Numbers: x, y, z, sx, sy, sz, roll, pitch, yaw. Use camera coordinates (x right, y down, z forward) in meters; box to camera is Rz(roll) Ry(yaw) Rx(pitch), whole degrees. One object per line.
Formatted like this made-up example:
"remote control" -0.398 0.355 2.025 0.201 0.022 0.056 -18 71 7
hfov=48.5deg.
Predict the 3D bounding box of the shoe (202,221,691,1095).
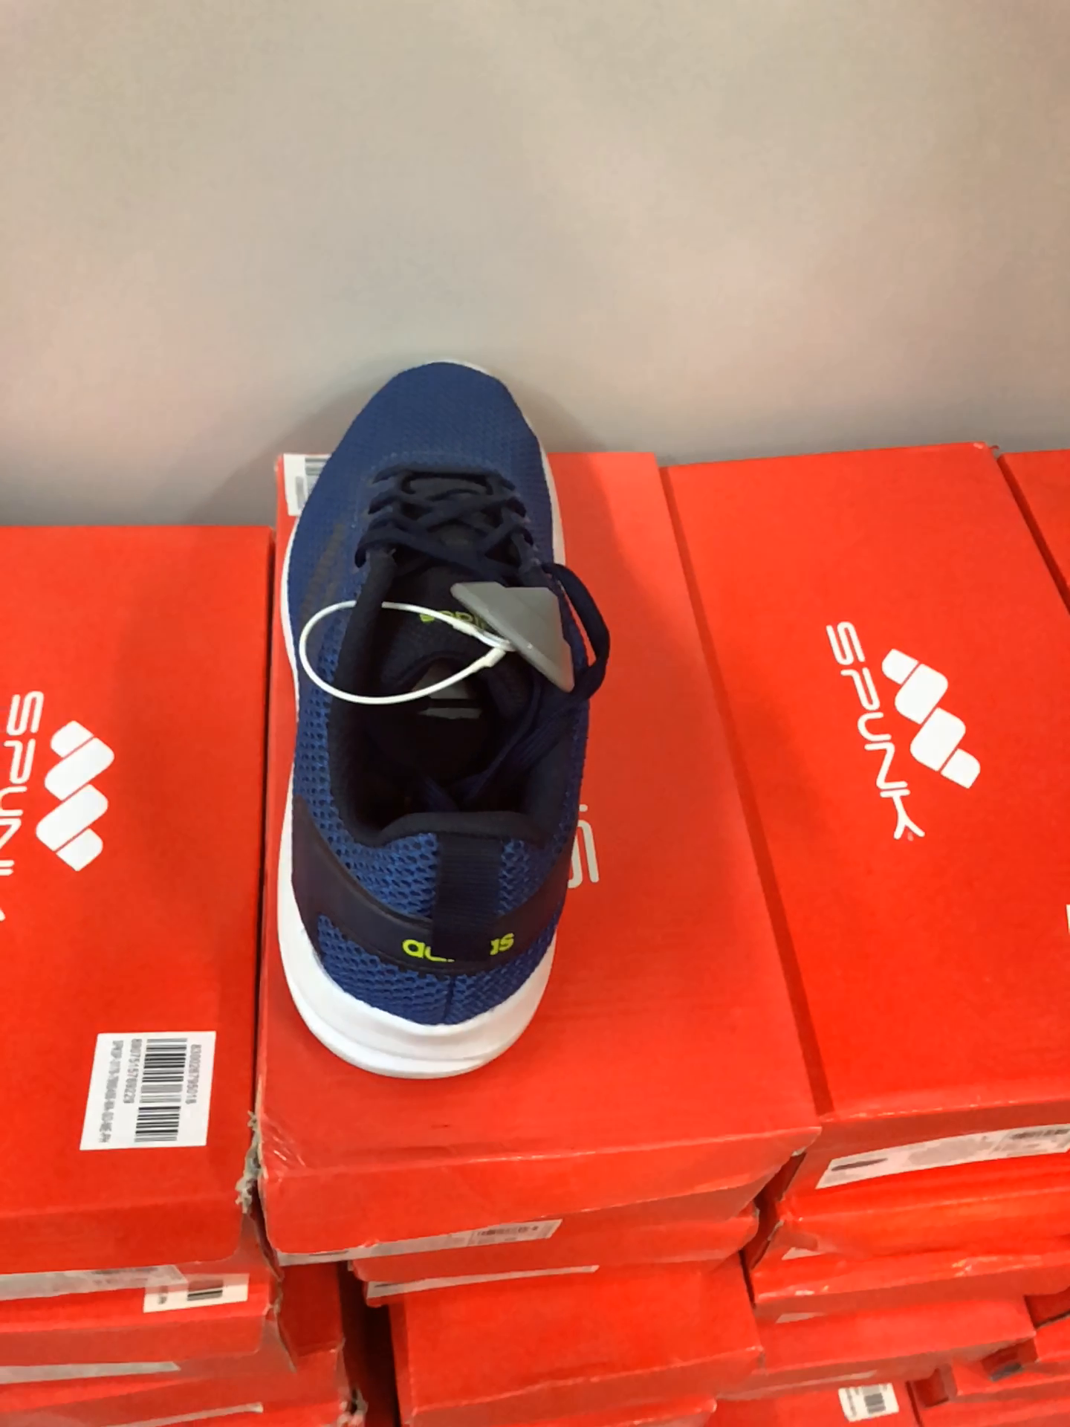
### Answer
"shoe" -0.037 -0.044 0.422 0.113 0.113 0.317 -1 48 -6
